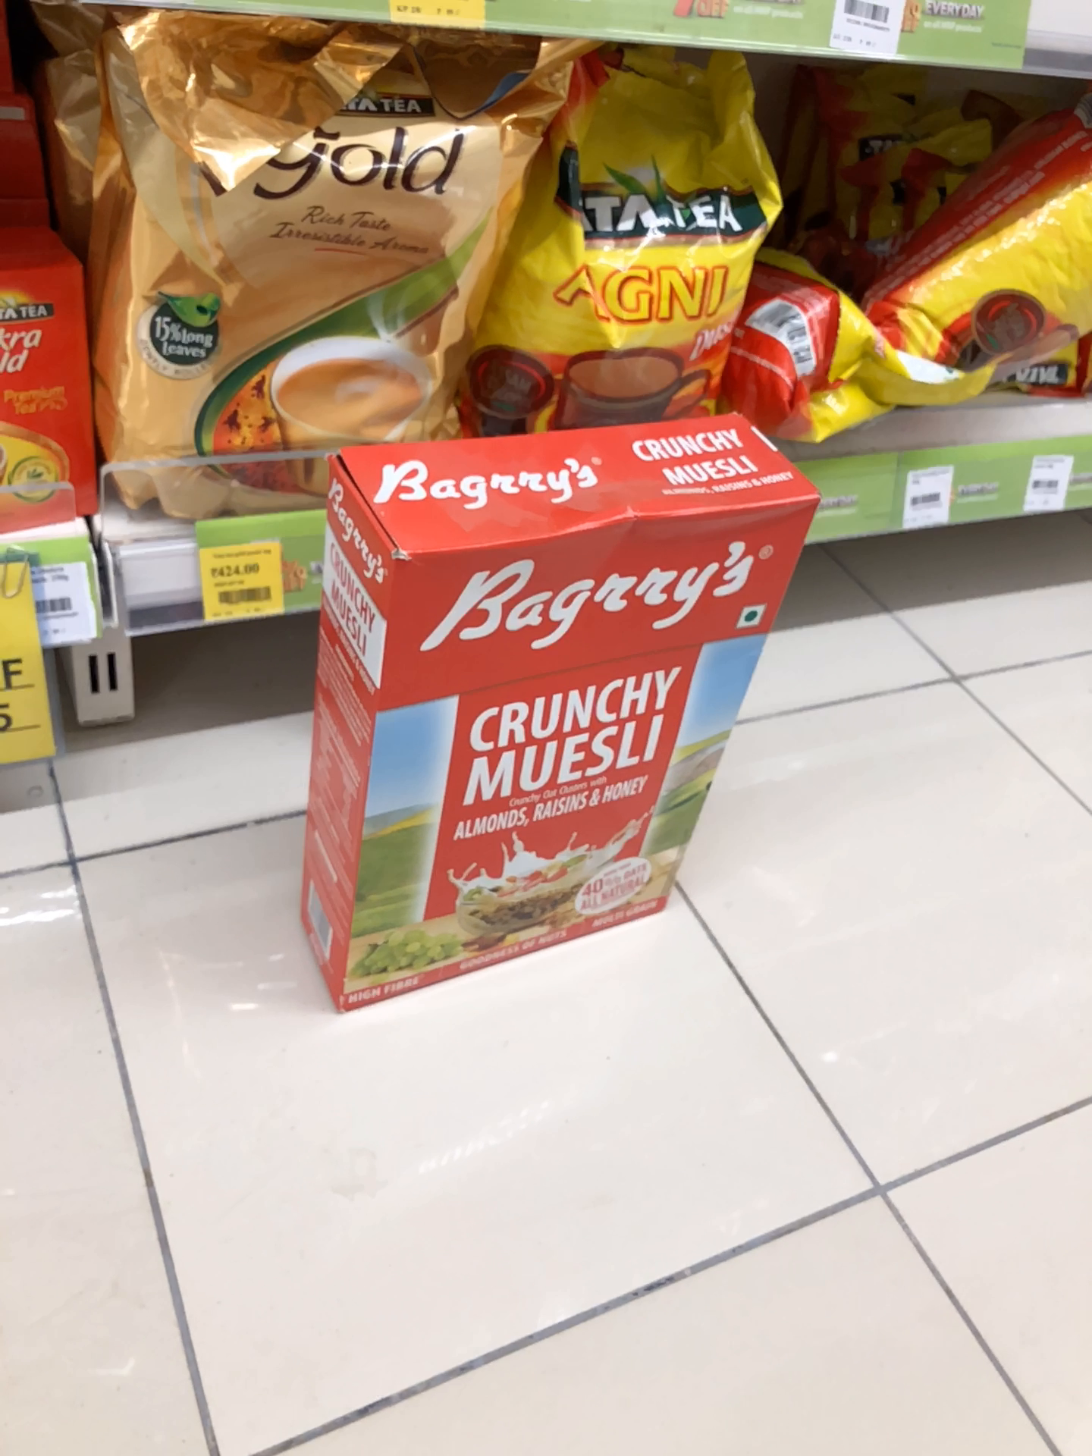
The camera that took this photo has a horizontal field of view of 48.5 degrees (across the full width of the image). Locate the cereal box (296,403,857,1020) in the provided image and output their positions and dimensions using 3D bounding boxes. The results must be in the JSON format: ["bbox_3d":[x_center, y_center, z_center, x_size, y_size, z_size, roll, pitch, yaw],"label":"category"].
[{"bbox_3d":[-0.001,-0.002,0.554,0.201,0.268,0.070,-13,48,-26],"label":"cereal box"}]
